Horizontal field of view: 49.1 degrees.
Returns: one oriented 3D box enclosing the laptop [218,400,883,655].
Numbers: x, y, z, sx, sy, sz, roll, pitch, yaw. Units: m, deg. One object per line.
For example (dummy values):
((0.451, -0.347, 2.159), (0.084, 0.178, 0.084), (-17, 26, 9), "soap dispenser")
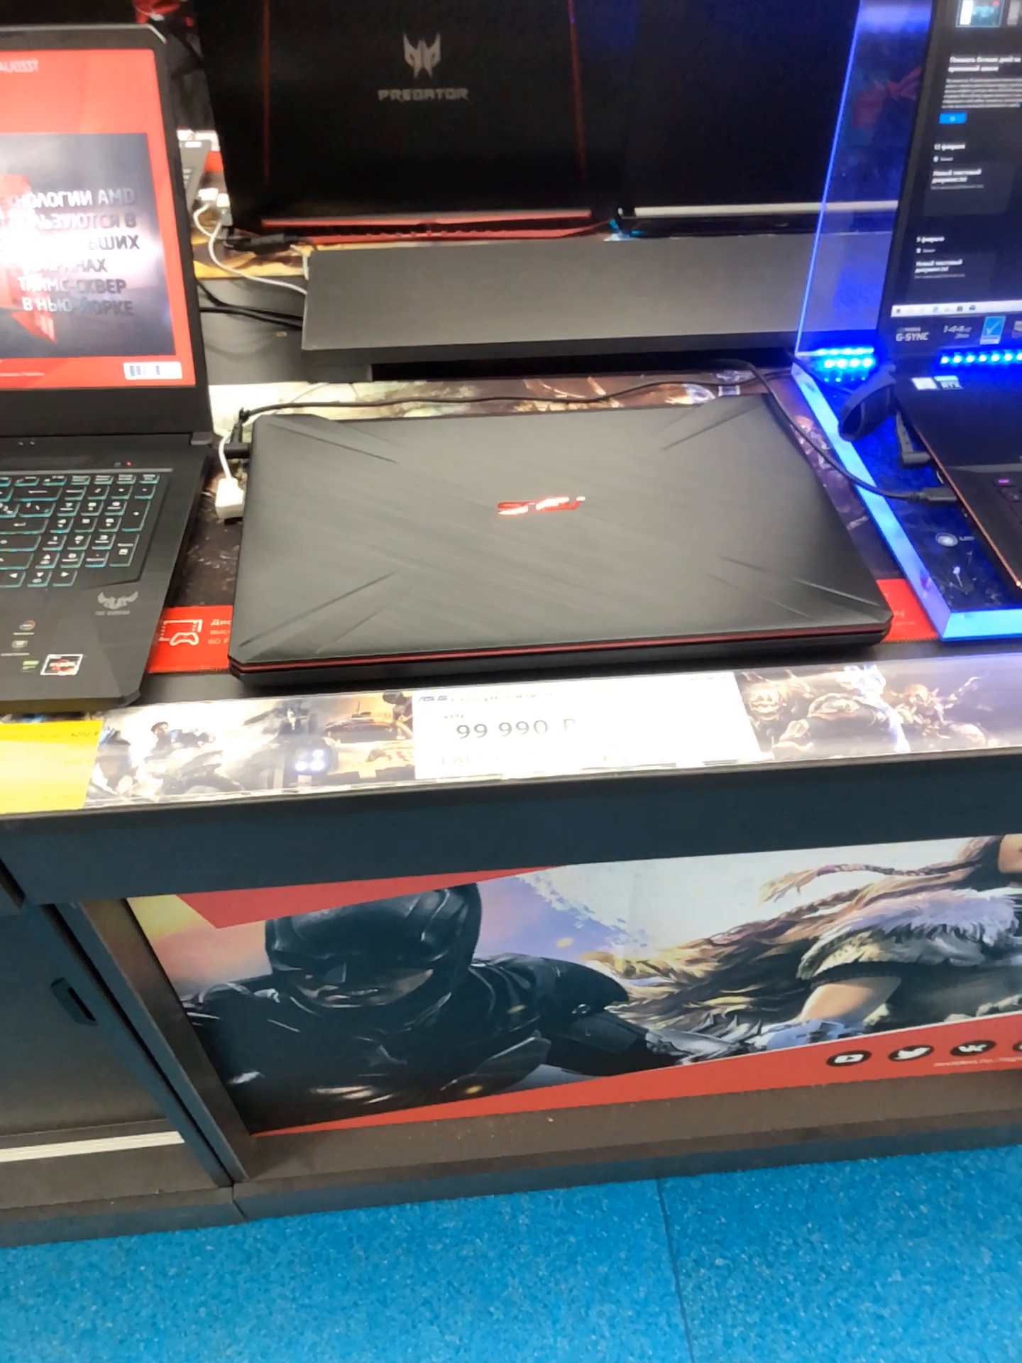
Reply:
((0.013, -0.114, 0.743), (0.388, 0.002, 0.253), (-4, 43, -4), "laptop")
